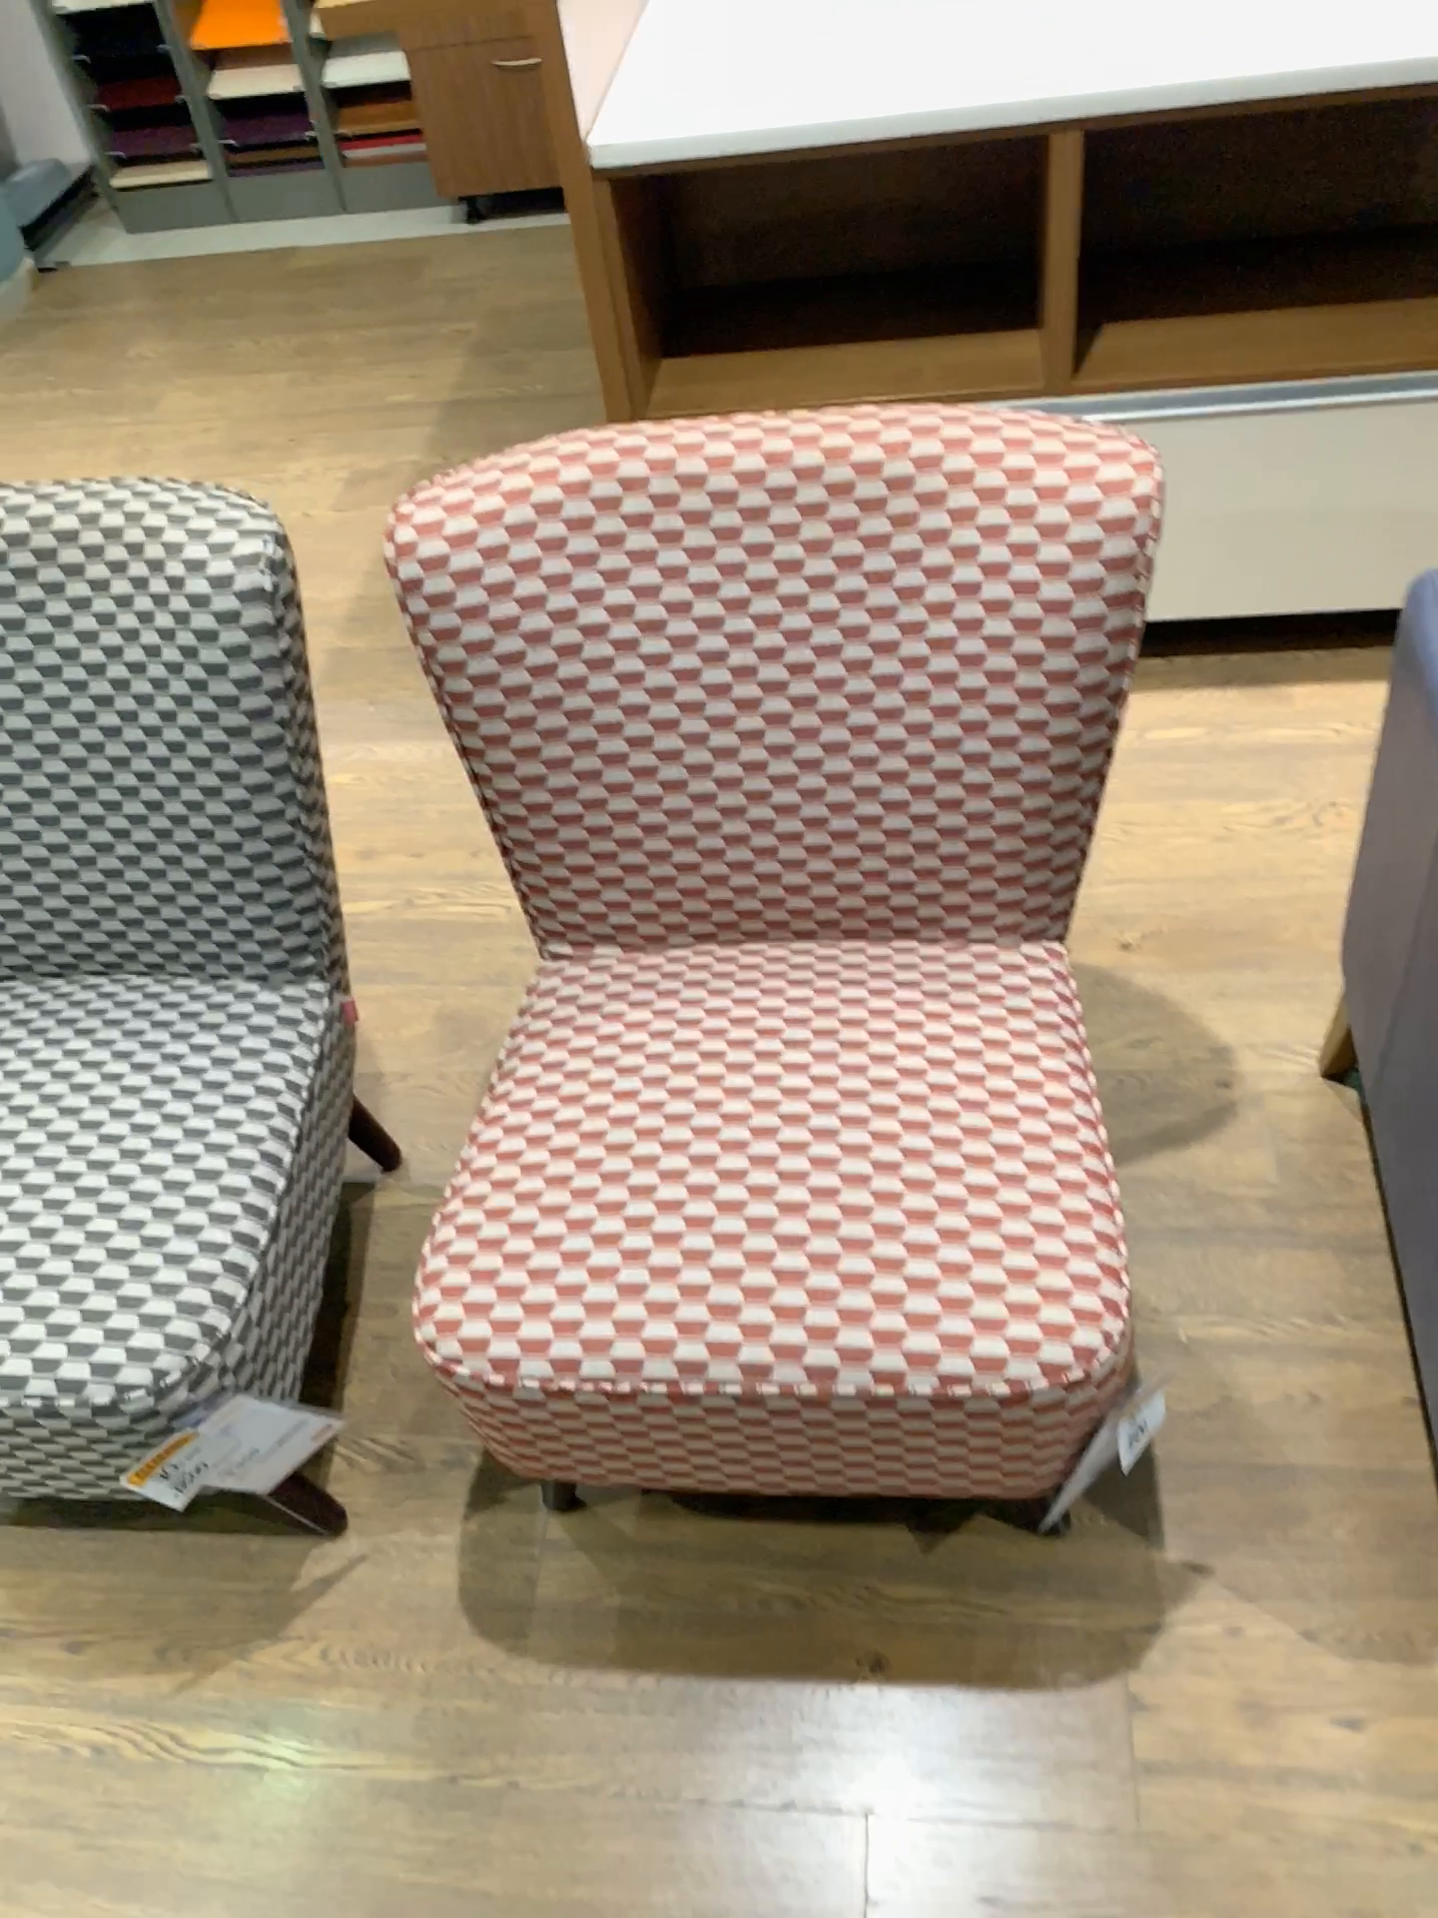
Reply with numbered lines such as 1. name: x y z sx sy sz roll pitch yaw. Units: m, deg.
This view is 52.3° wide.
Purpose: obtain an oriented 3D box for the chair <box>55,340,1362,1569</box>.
1. chair: 0.050 0.046 1.294 0.700 0.866 0.612 -1 46 9
